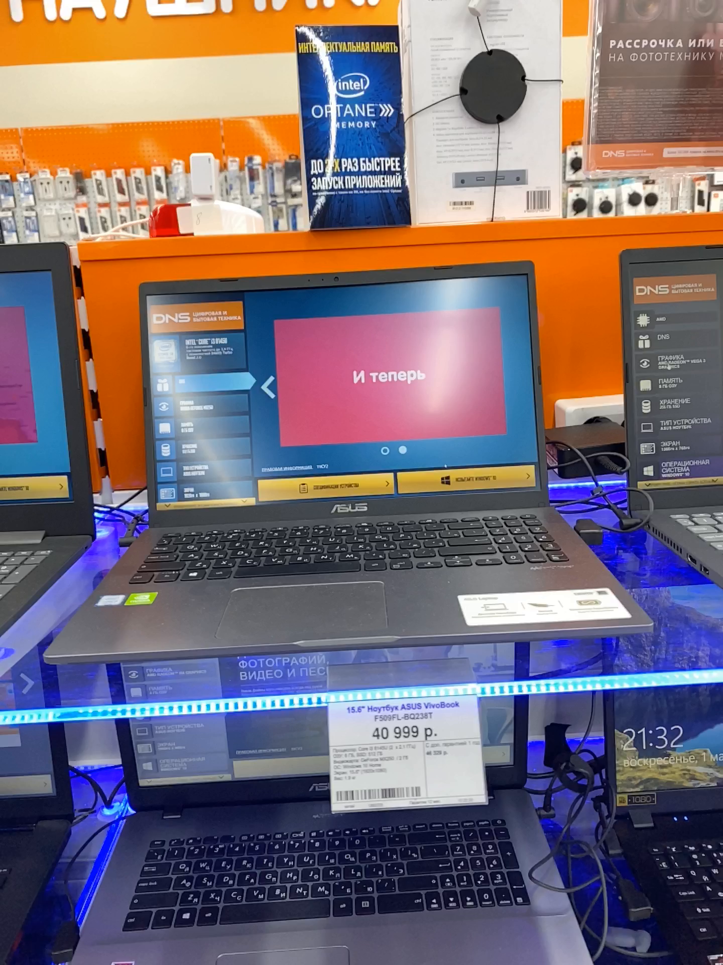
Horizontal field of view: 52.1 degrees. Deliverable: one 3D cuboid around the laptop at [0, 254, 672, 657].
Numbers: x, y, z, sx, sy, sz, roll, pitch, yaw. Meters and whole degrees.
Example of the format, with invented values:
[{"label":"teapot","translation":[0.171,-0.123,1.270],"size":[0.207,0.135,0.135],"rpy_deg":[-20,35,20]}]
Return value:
[{"label":"laptop","translation":[-0.014,-0.049,0.556],"size":[0.357,0.211,0.307],"rpy_deg":[-3,15,0]}]
